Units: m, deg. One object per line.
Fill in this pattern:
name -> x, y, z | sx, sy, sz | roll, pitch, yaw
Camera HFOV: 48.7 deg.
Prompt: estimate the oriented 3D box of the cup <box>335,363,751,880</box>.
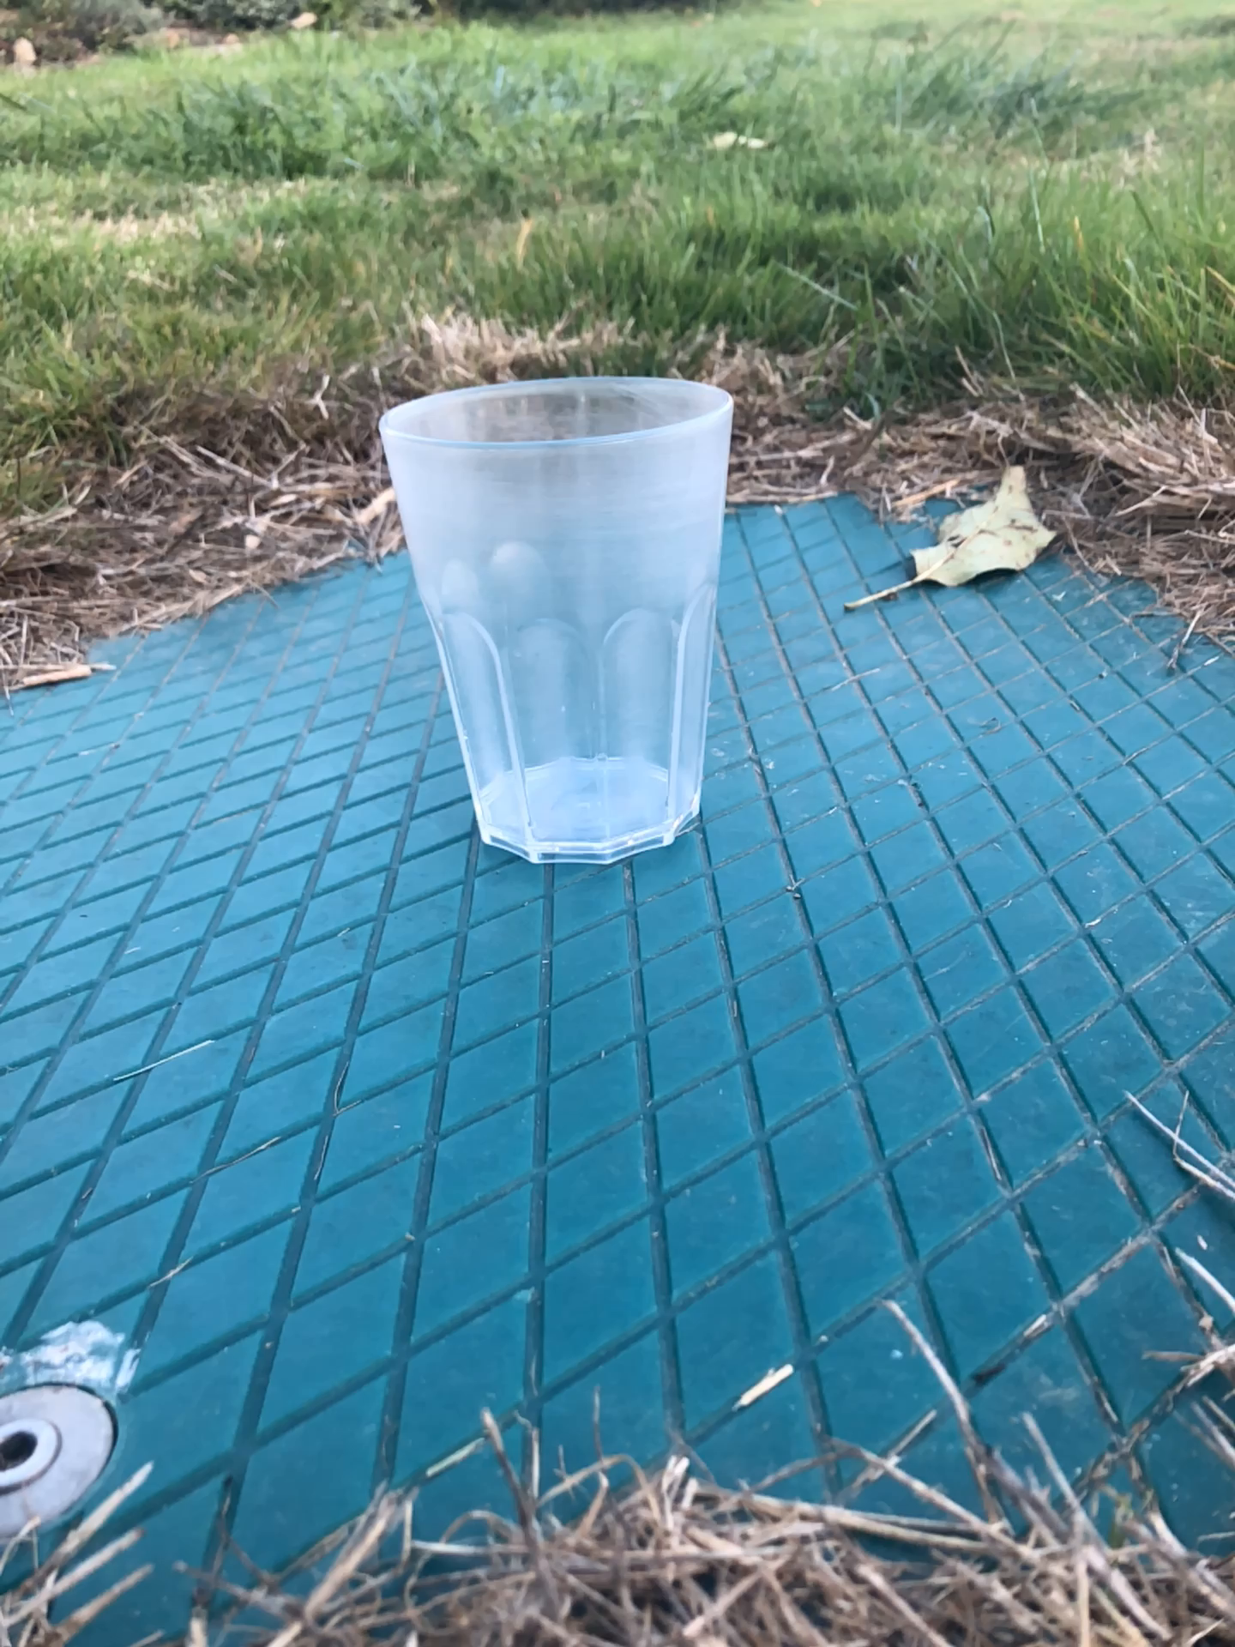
cup -> -0.012, -0.057, 0.372 | 0.091, 0.113, 0.088 | -4, 26, 2
